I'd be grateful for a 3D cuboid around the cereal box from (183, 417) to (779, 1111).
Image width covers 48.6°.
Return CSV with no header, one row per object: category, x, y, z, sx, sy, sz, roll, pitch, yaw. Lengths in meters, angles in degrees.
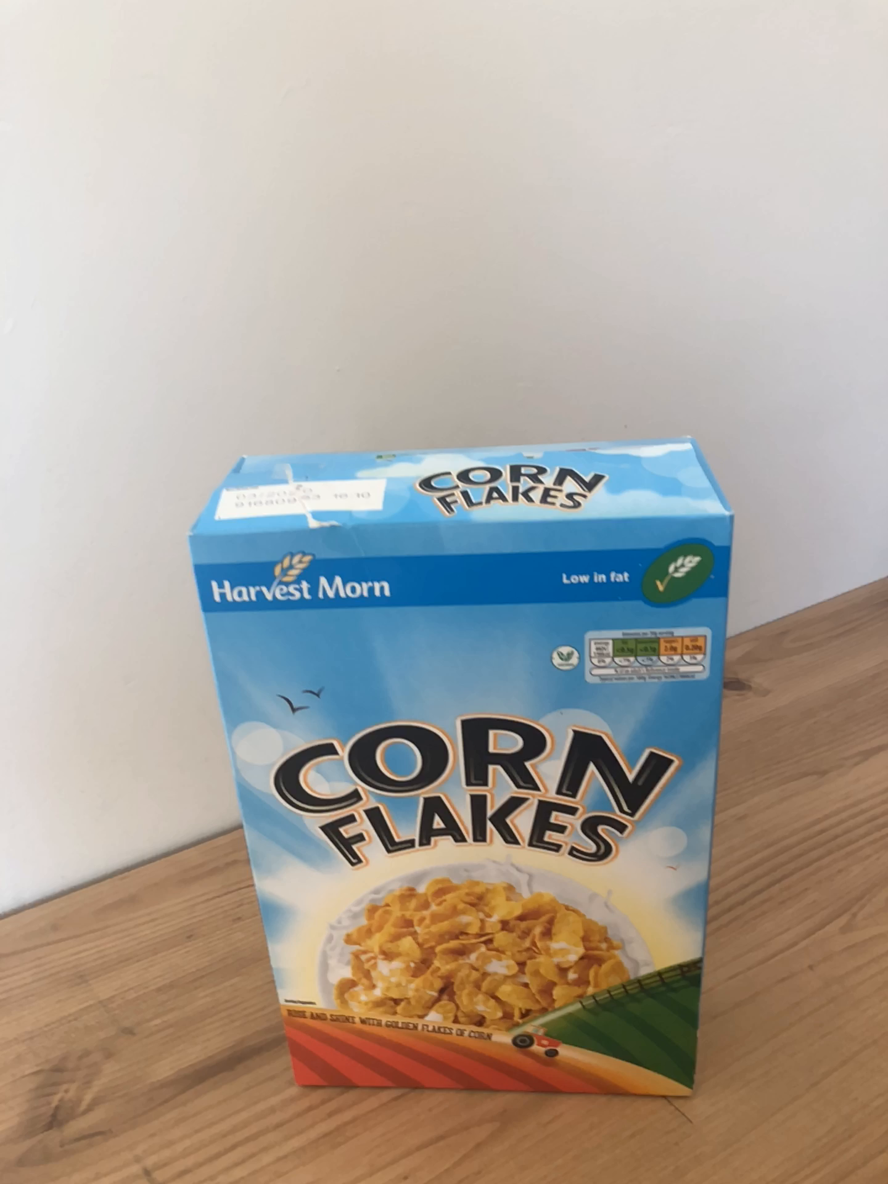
cereal box,0.022,0.088,0.434,0.200,0.308,0.081,-1,27,5
